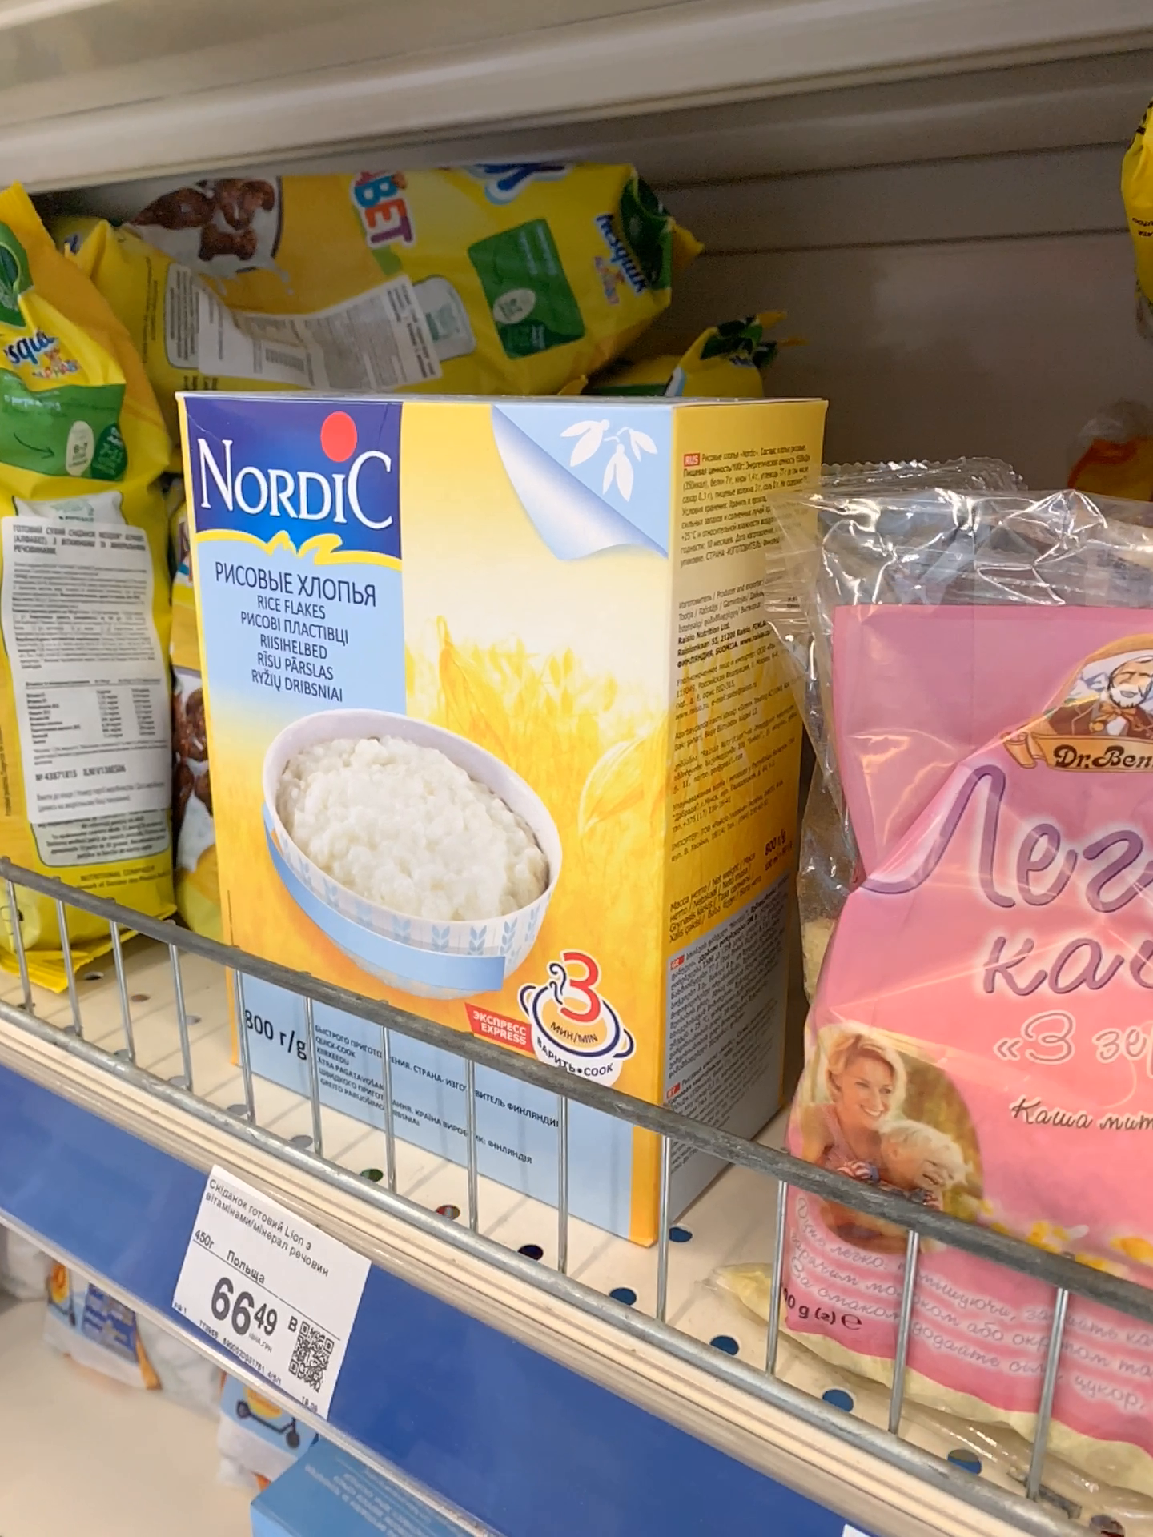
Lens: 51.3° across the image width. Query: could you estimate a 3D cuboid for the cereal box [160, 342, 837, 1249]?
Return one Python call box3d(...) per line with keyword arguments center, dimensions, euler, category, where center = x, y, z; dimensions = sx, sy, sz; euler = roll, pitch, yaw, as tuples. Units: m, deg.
box3d(center=(-0.023, -0.006, 0.324), dimensions=(0.150, 0.199, 0.080), euler=(11, 19, 33), category="cereal box")
